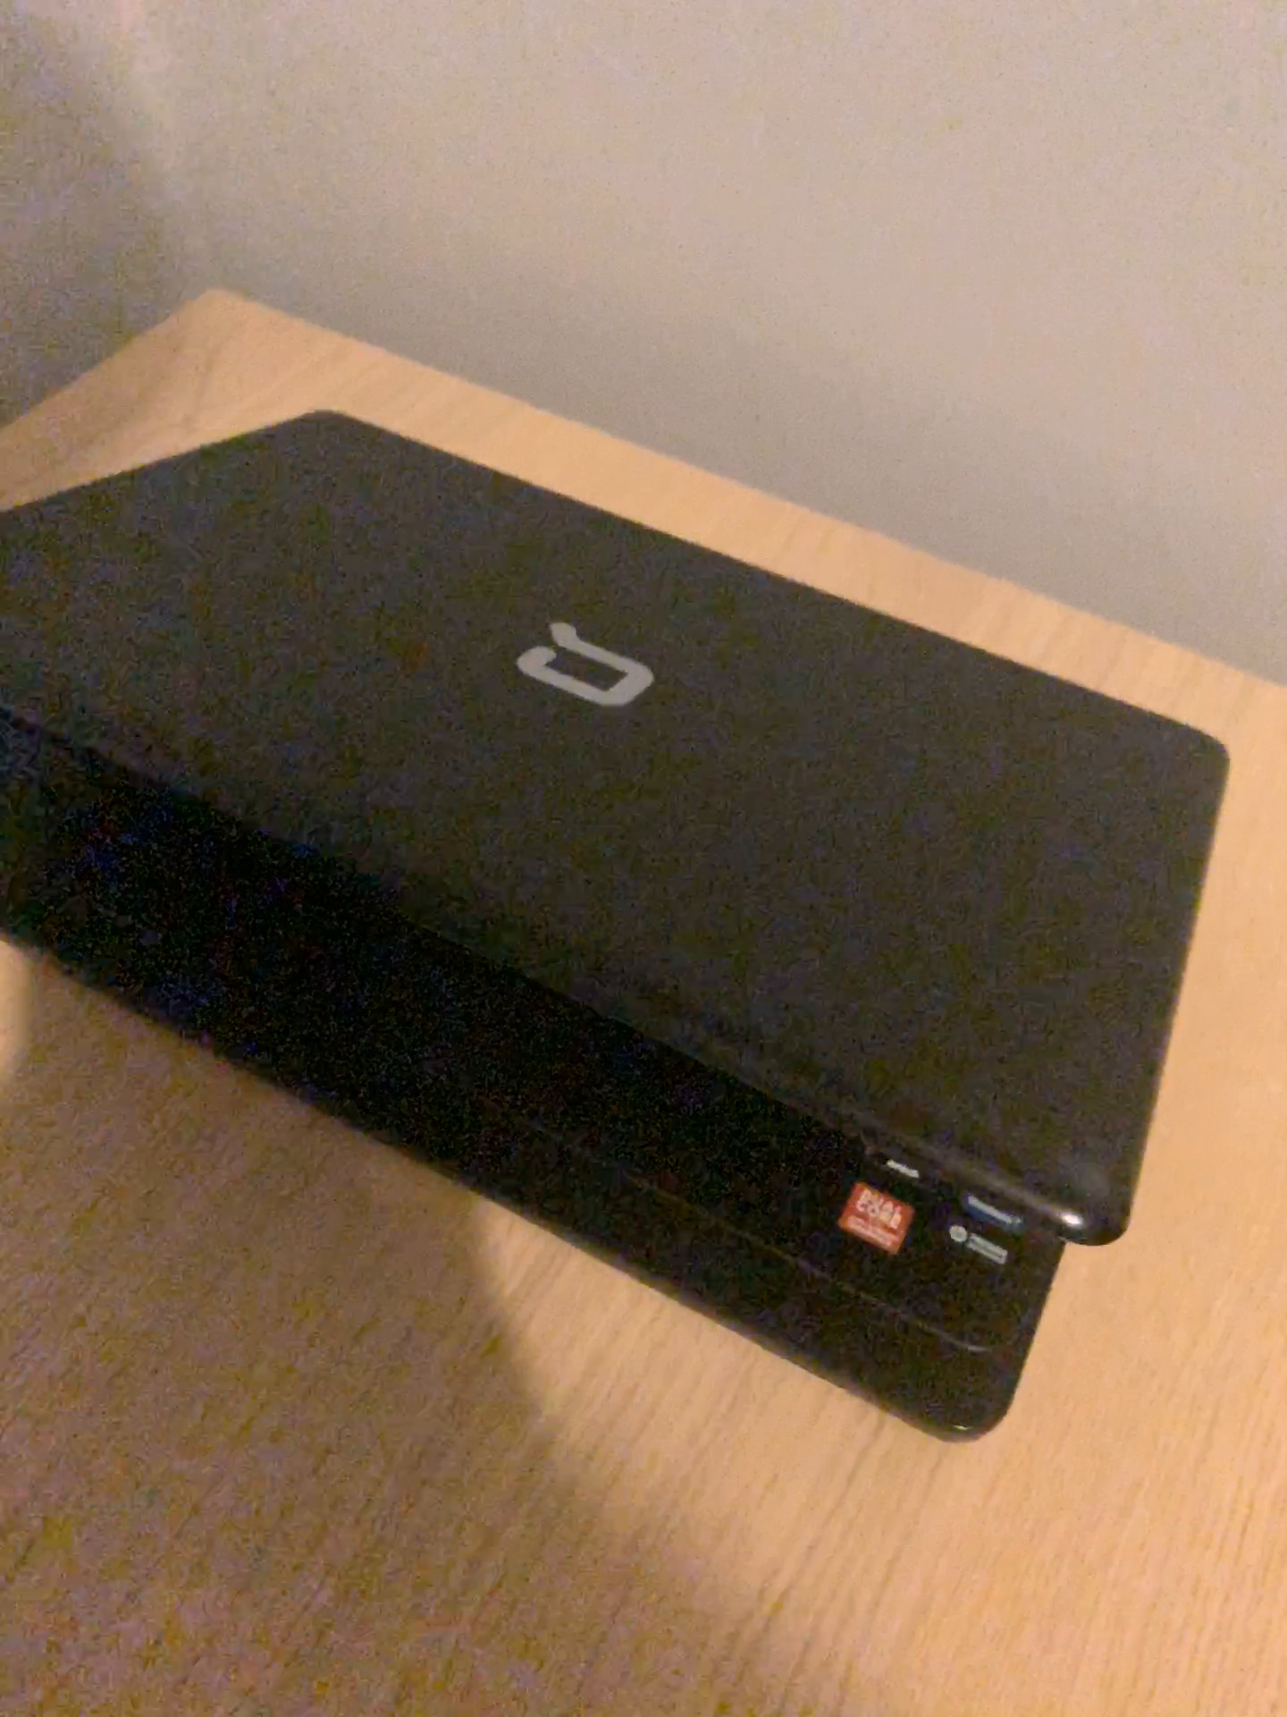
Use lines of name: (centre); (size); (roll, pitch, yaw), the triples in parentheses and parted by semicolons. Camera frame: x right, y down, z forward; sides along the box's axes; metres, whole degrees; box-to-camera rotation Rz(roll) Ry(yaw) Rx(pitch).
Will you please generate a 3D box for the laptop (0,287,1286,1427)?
laptop: (-0.027, -0.035, 0.405); (0.373, 0.064, 0.224); (24, 59, 16)
